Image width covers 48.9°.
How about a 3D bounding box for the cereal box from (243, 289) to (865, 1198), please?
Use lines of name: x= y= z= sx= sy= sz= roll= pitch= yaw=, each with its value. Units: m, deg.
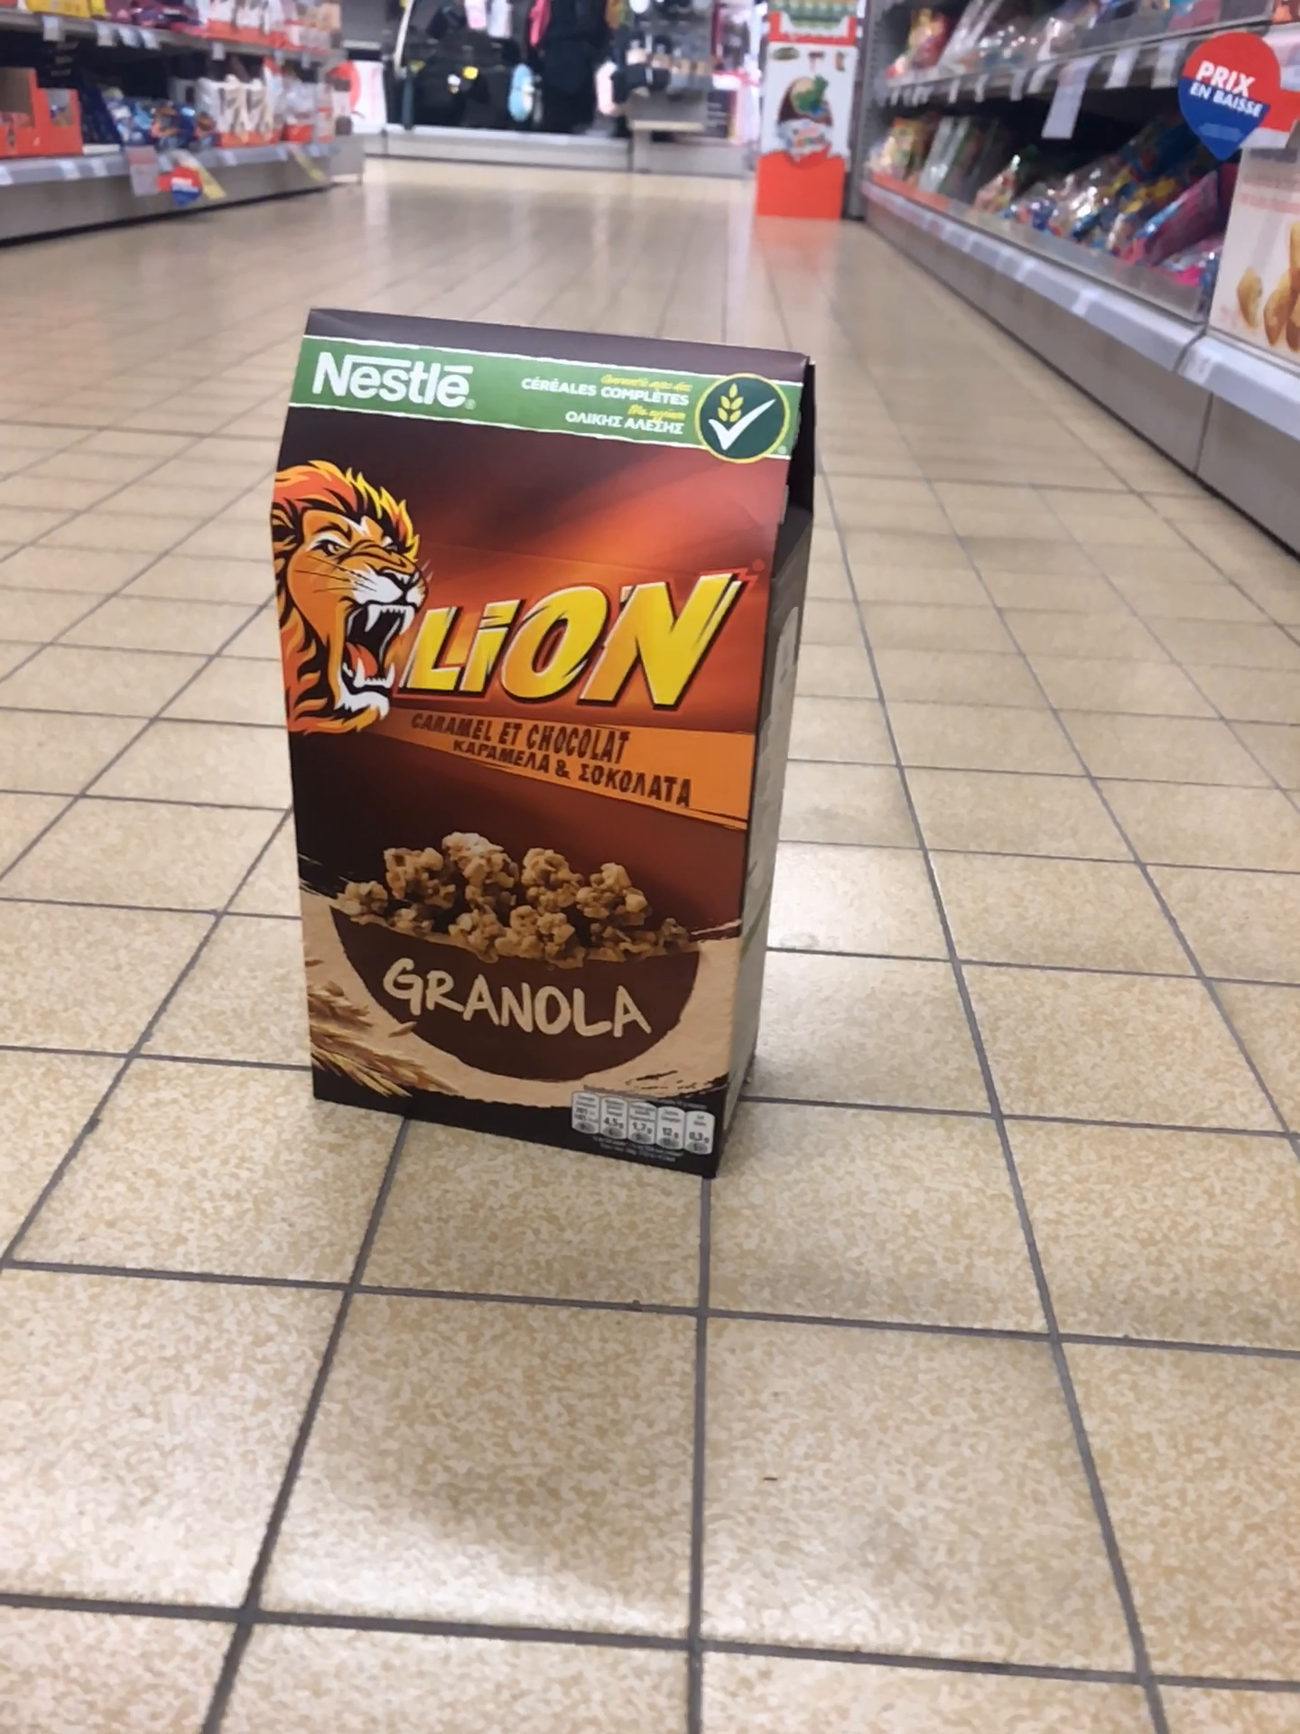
cereal box: x=-0.028 y=-0.036 z=0.442 sx=0.150 sy=0.249 sz=0.081 roll=9 pitch=28 yaw=11
